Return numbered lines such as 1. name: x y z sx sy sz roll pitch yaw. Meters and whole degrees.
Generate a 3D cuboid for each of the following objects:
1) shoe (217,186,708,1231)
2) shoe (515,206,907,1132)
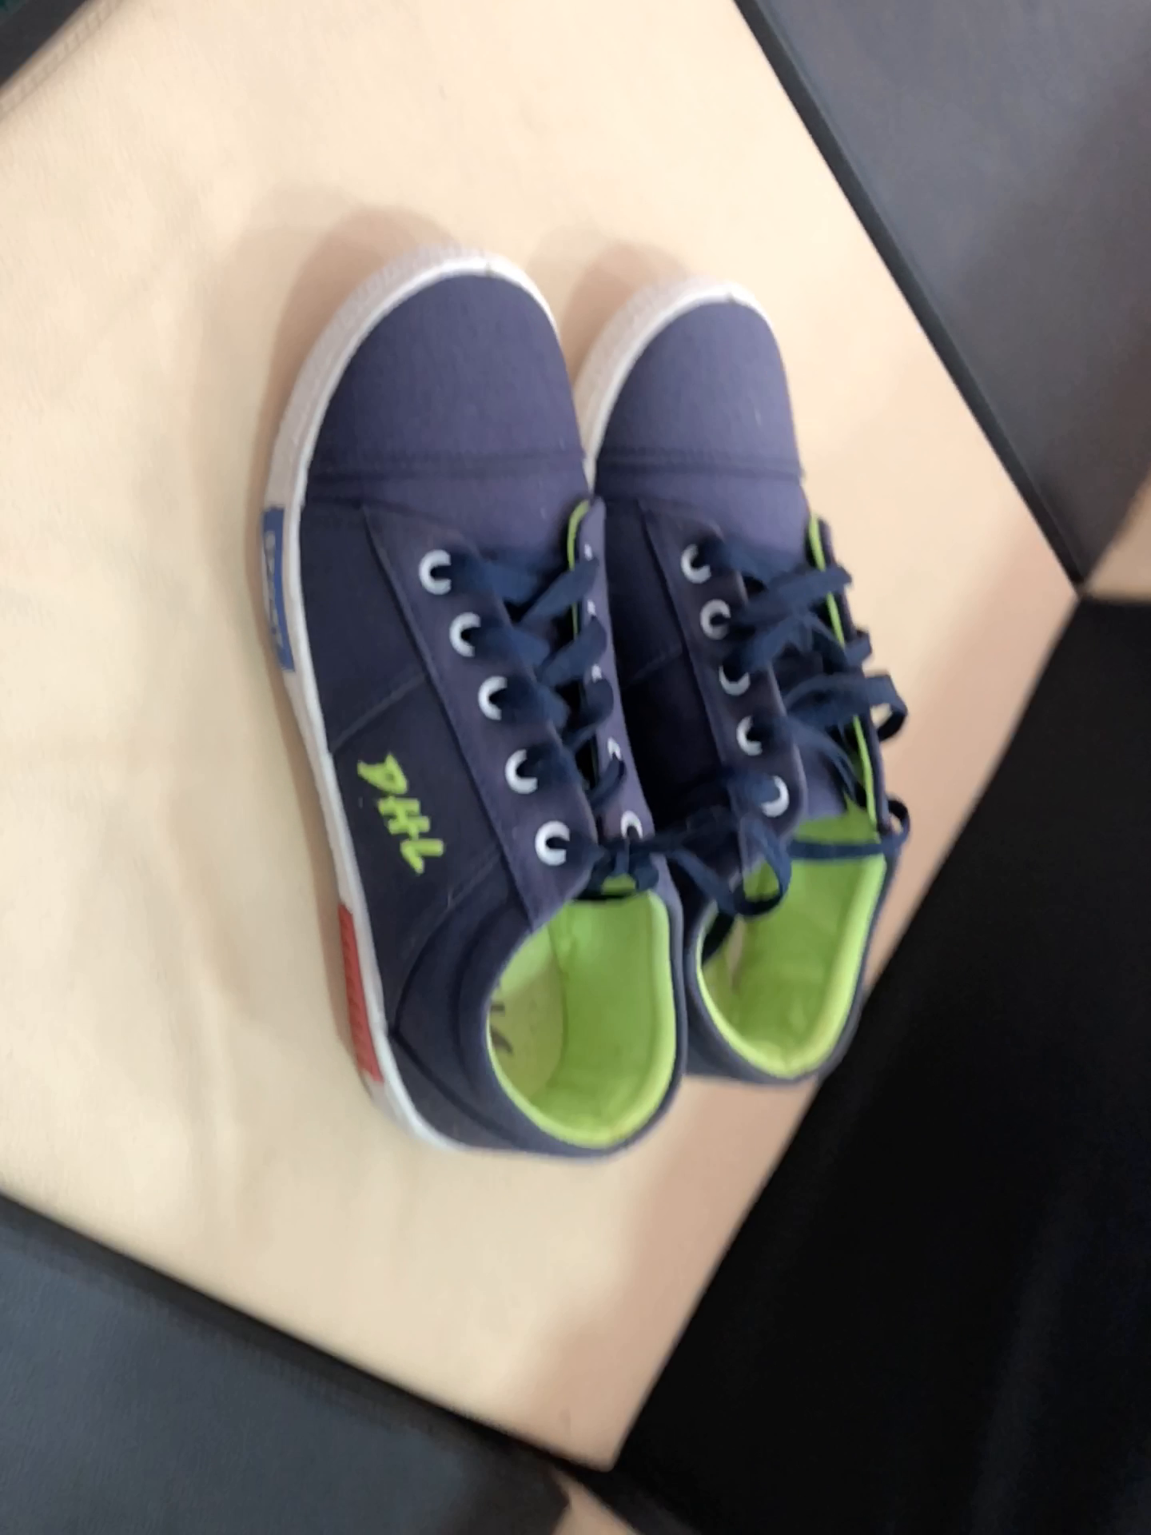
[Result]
1. shoe: -0.030 -0.017 0.378 0.091 0.089 0.260 -12 104 -36
2. shoe: 0.049 -0.031 0.430 0.091 0.079 0.270 -12 104 -36
